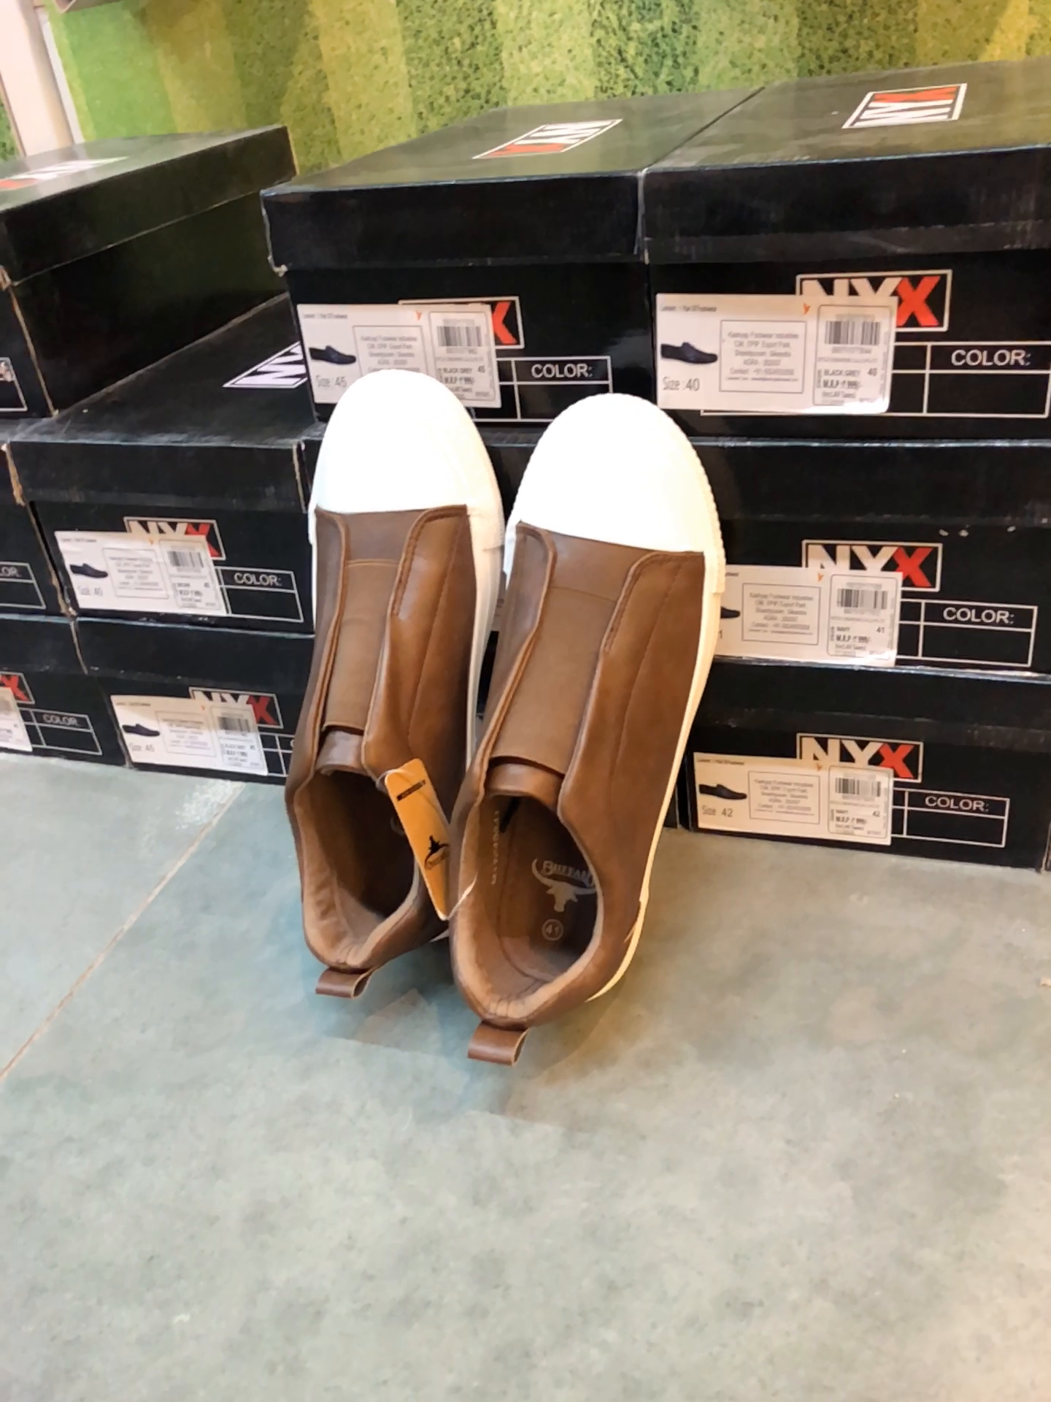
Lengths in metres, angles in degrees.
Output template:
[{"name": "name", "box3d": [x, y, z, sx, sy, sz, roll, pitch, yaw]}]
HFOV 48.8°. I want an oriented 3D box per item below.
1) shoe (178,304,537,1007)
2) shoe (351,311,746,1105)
[{"name": "shoe", "box3d": [-0.067, -0.020, 0.505, 0.098, 0.270, 0.103, 3, -3, 18]}, {"name": "shoe", "box3d": [0.016, -0.001, 0.458, 0.096, 0.272, 0.100, 6, -3, 20]}]
